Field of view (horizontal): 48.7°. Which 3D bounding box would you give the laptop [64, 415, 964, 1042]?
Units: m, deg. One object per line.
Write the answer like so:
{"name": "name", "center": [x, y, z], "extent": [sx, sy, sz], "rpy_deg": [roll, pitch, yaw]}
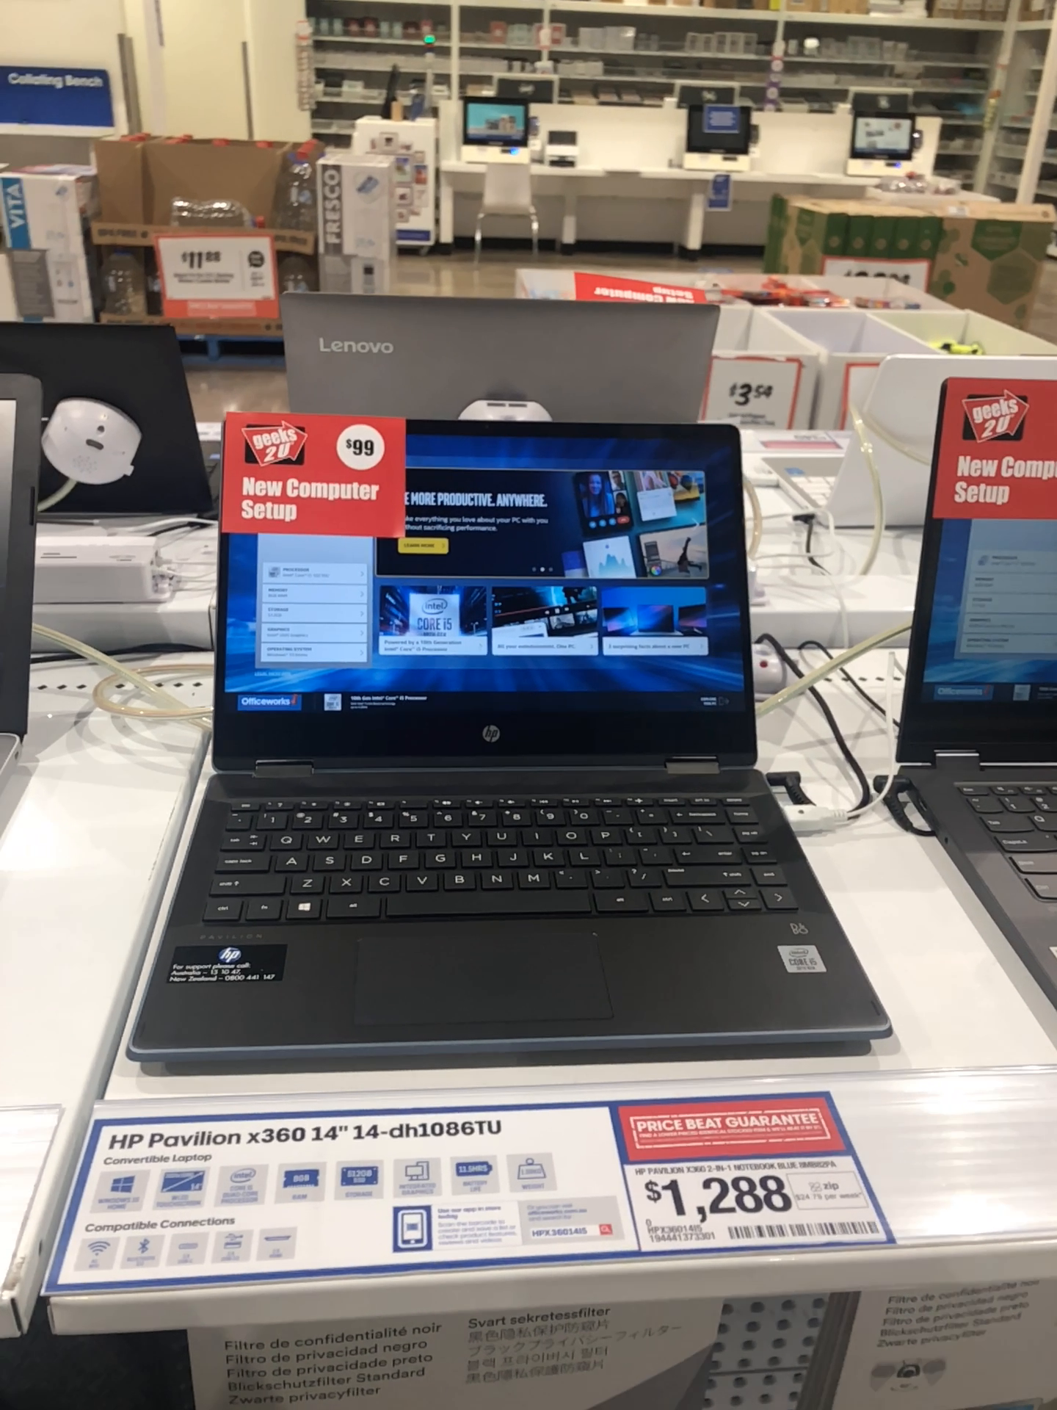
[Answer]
{"name": "laptop", "center": [-0.016, -0.020, 0.600], "extent": [0.315, 0.165, 0.350], "rpy_deg": [0, 27, -6]}
